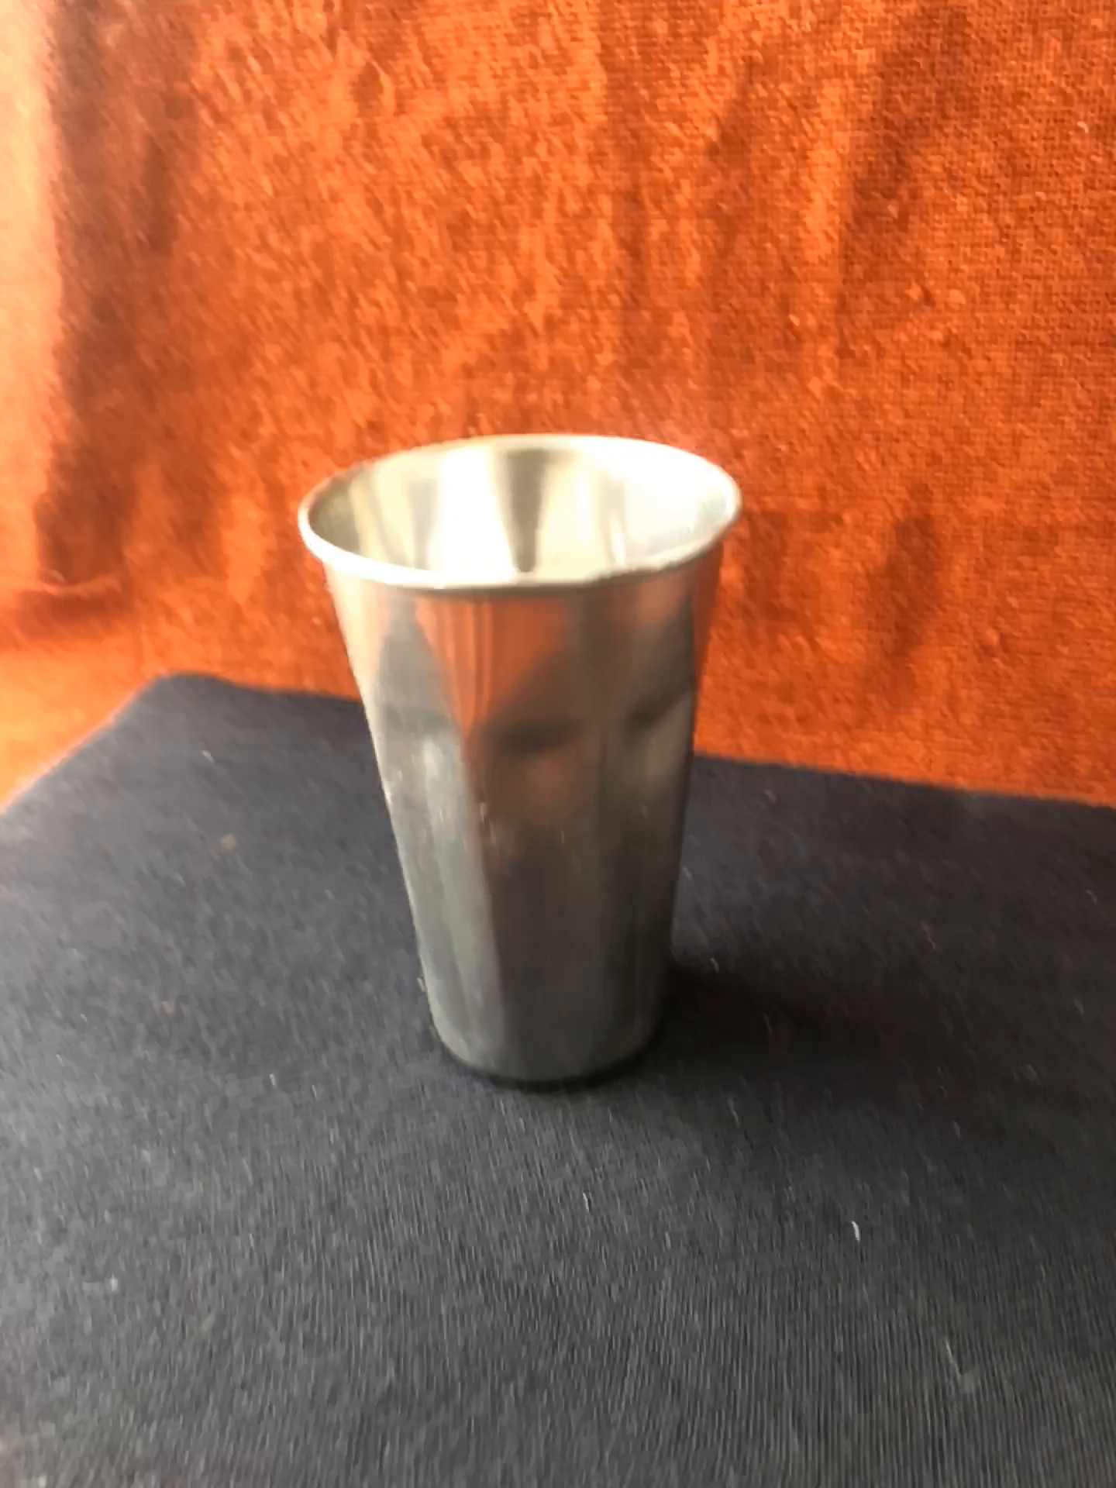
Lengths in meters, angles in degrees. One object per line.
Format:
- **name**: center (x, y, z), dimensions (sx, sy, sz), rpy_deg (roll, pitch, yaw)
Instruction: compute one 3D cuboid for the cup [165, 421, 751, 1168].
- **cup**: center (-0.009, 0.004, 0.216), dimensions (0.070, 0.099, 0.070), rpy_deg (-2, 28, 1)
